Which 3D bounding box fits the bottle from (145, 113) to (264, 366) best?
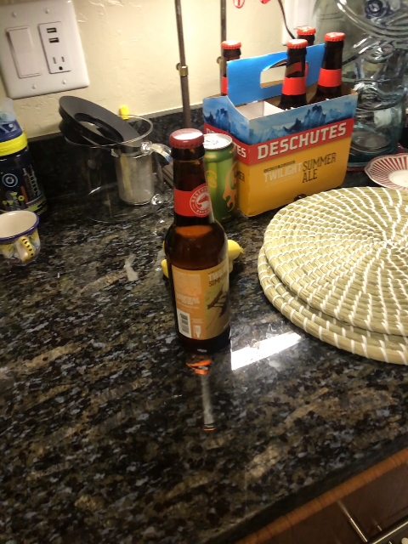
[{"bbox_3d":[0.004,-0.020,0.372,0.060,0.199,0.060,-2,37,1],"label":"bottle"}]
